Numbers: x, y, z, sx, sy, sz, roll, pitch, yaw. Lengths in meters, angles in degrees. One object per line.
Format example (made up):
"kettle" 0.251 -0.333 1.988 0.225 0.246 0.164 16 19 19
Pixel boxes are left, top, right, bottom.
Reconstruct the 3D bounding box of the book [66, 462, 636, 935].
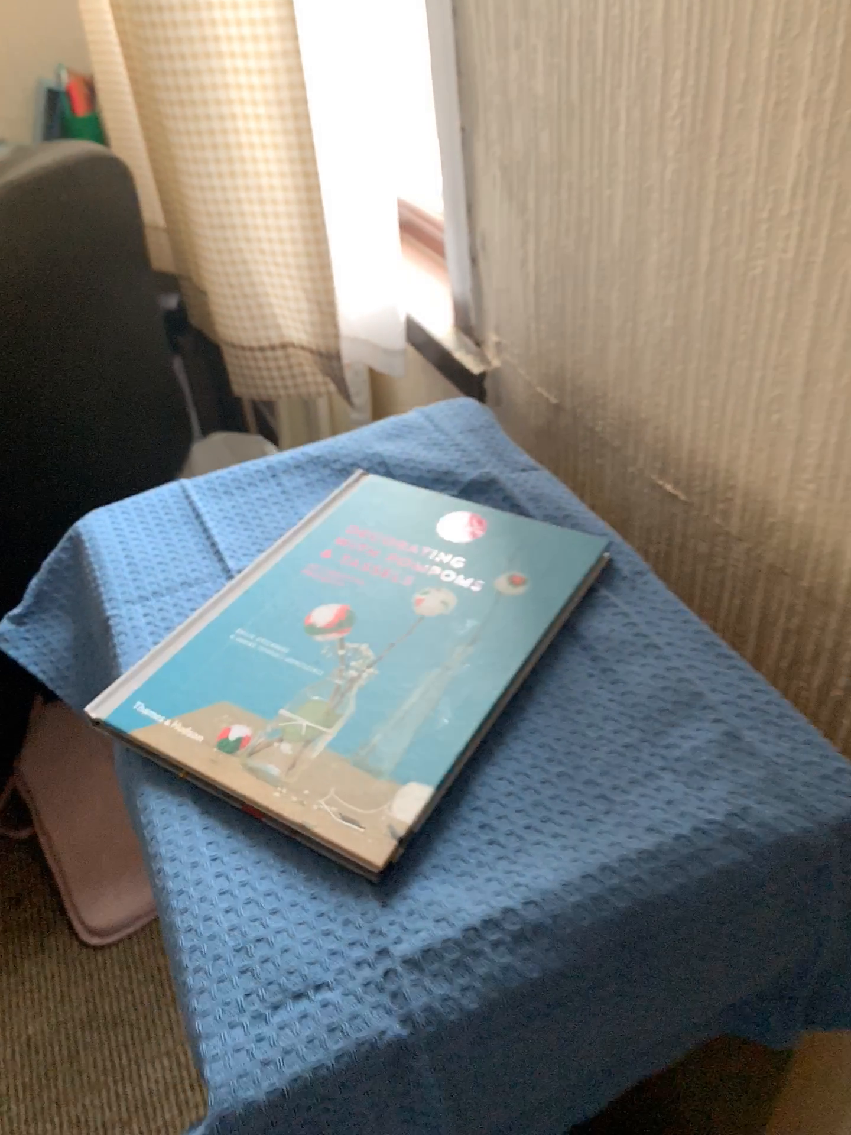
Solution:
"book" -0.026 0.039 0.468 0.191 0.020 0.252 19 46 26
